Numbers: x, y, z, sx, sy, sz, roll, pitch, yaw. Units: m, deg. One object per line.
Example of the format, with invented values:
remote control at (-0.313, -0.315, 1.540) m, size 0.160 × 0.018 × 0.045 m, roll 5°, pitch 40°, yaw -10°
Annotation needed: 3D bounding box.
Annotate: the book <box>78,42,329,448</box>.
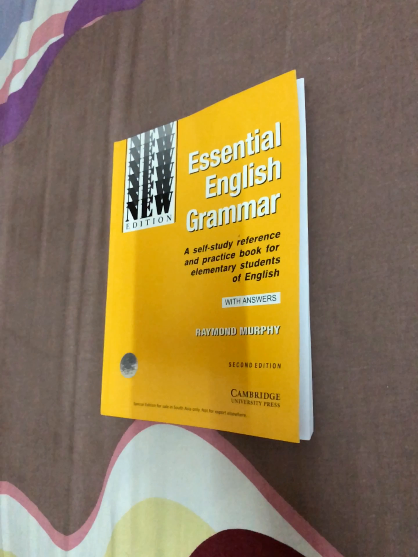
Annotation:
book at (-0.011, -0.019, 0.349) m, size 0.191 × 0.040 × 0.250 m, roll -6°, pitch 77°, yaw 36°
